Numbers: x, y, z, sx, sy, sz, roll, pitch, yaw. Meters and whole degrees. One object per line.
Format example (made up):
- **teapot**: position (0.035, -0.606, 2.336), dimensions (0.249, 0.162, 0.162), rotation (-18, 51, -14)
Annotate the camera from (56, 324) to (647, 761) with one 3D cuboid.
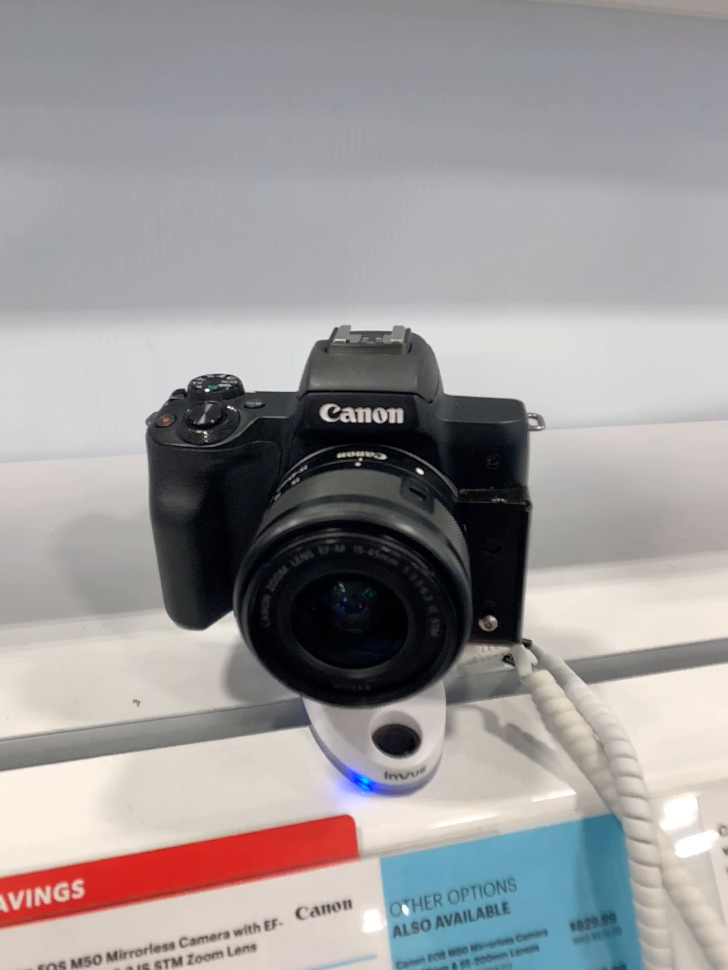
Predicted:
- **camera**: position (-0.003, 0.007, 0.221), dimensions (0.121, 0.080, 0.111), rotation (2, 25, 1)
